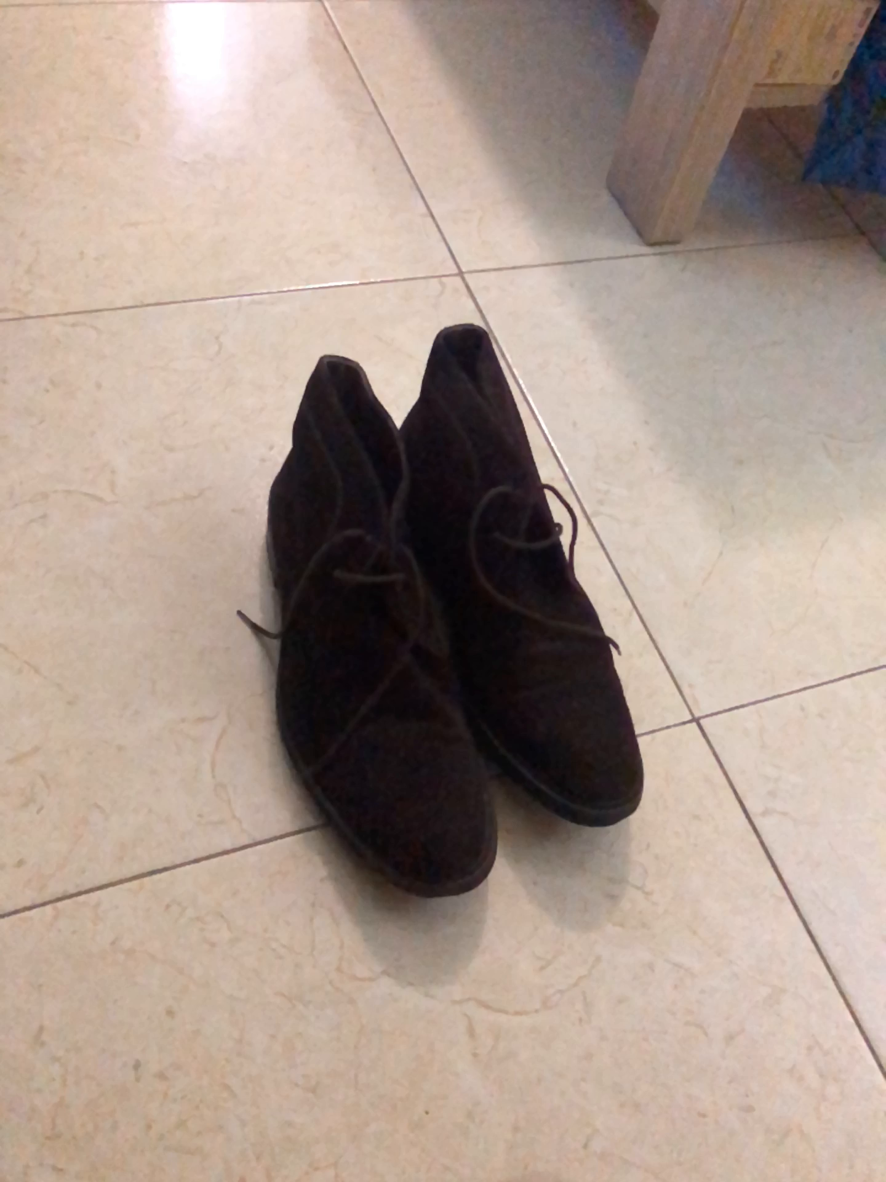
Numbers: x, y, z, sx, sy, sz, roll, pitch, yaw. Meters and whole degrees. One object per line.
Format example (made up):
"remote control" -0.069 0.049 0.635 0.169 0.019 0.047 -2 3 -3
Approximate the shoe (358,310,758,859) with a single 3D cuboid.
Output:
"shoe" 0.048 -0.013 0.609 0.110 0.140 0.301 -11 59 -18

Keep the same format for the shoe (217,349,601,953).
"shoe" -0.039 0.022 0.553 0.110 0.130 0.301 -11 59 -18
